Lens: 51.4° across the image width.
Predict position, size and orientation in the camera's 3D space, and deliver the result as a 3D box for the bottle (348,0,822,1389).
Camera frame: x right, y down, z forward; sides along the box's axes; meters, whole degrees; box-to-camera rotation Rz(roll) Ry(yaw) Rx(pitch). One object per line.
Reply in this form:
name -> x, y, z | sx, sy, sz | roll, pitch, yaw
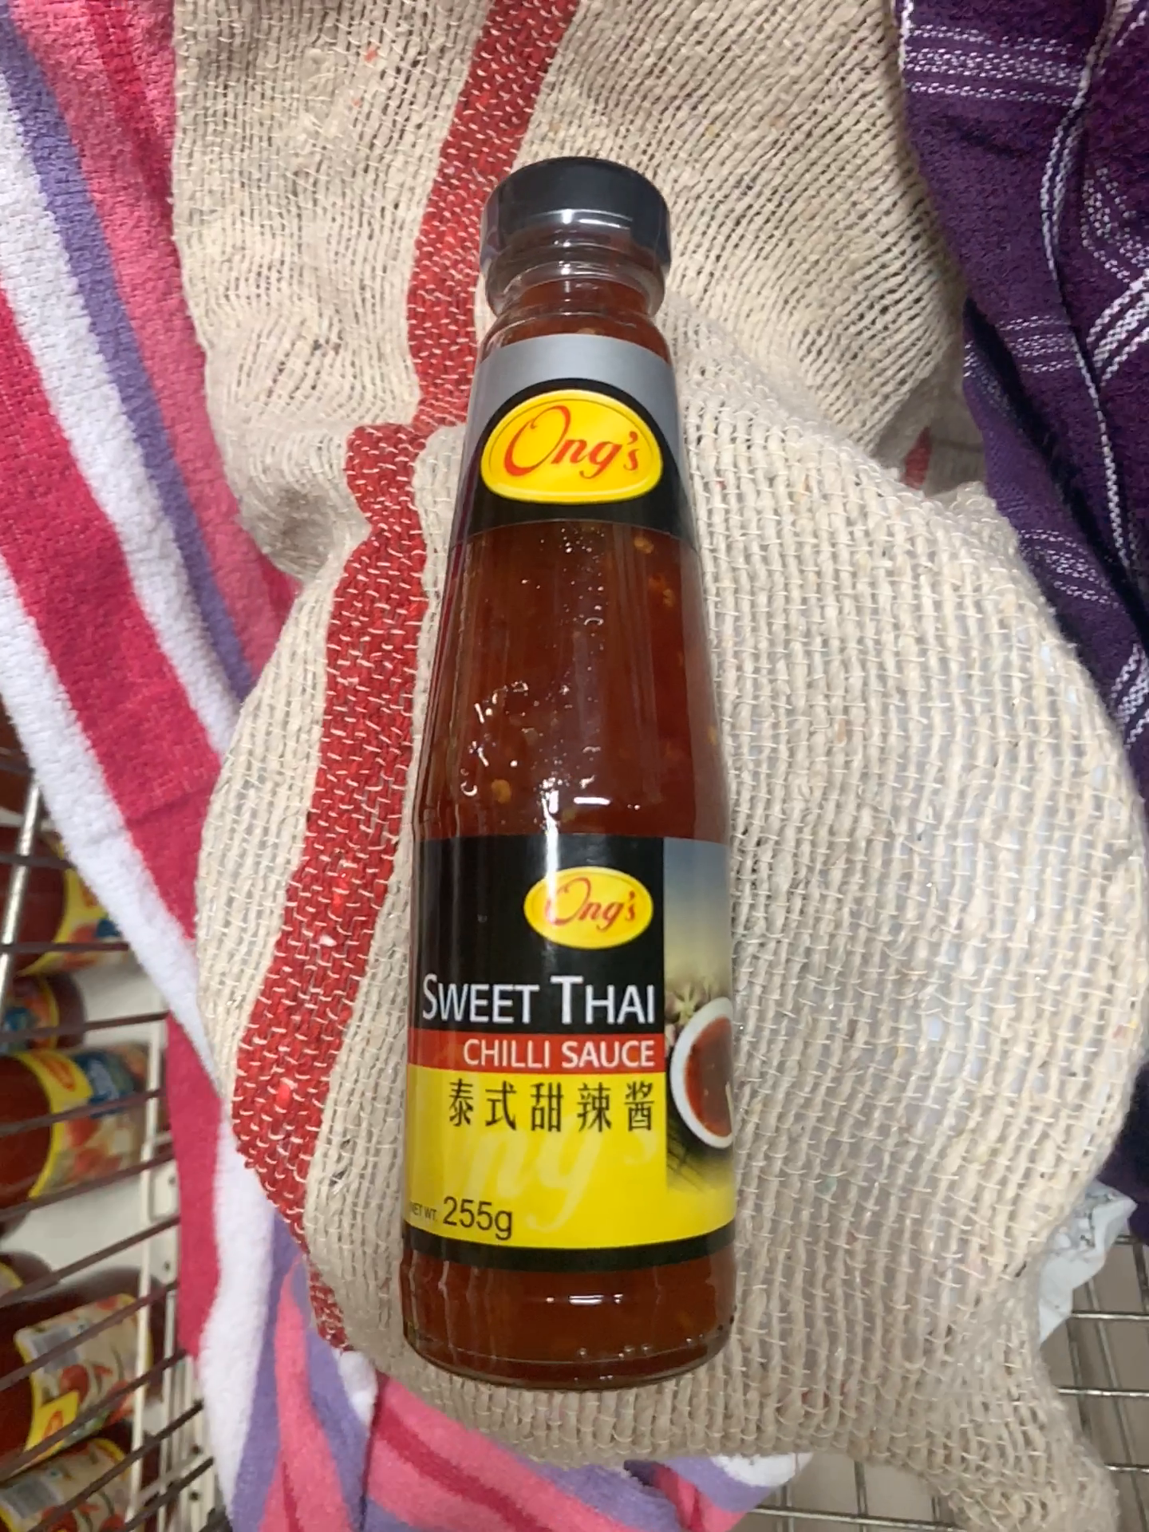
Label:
bottle -> 0.001, -0.013, 0.186 | 0.060, 0.050, 0.190 | 1, 84, -4
